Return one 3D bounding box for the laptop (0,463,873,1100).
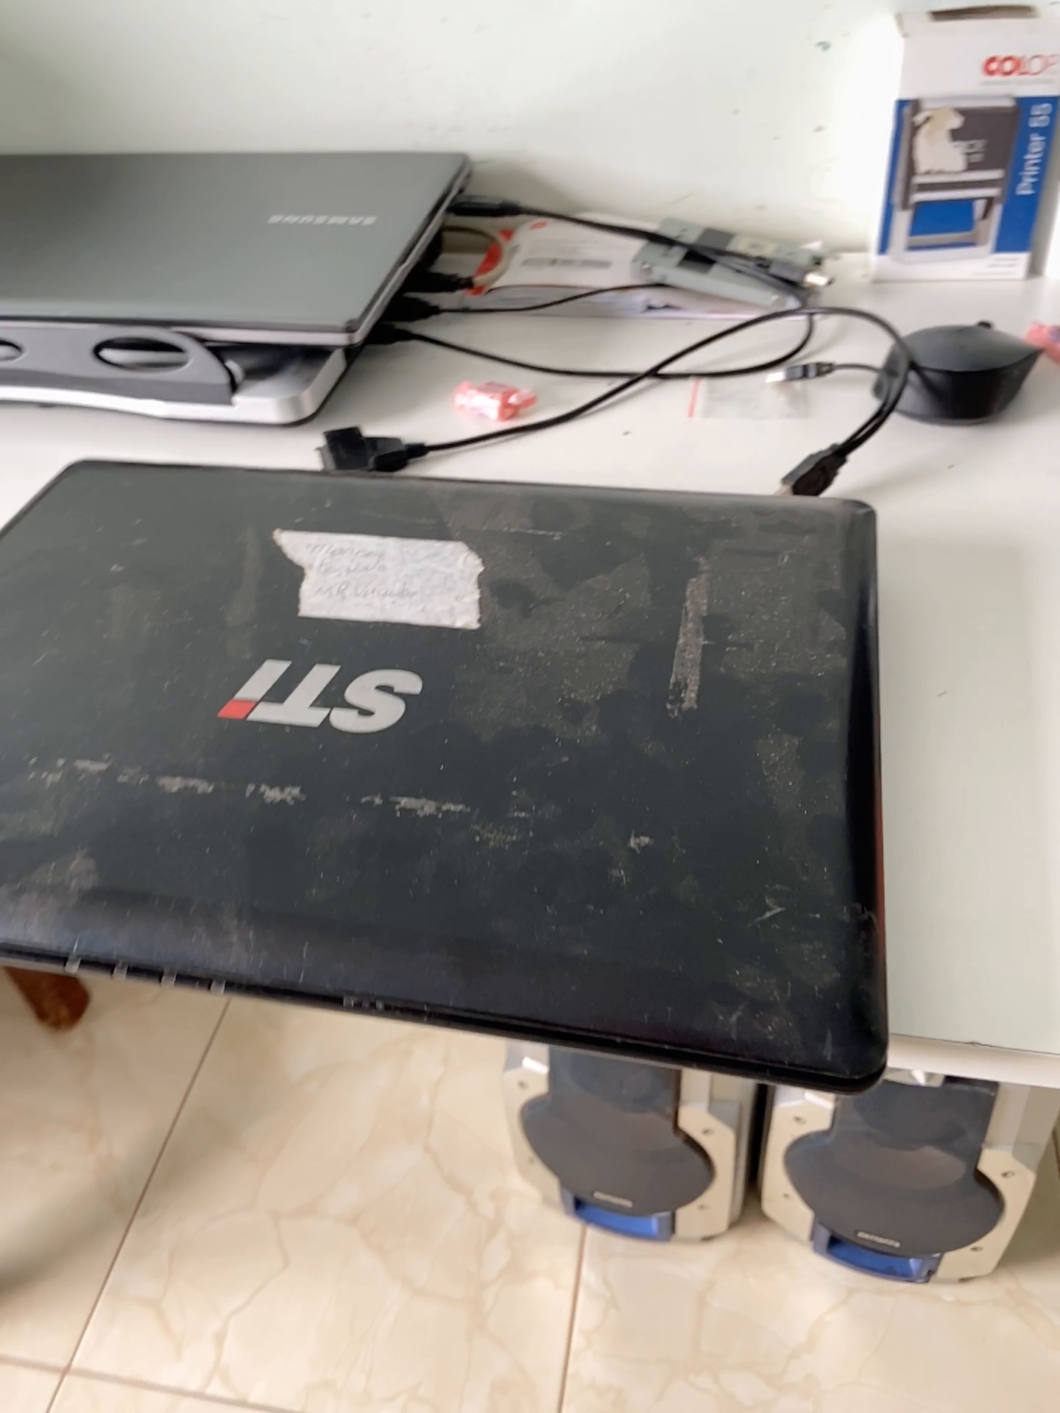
[{"bbox_3d":[-0.060,-0.006,0.371,0.337,0.011,0.231,5,45,12],"label":"laptop"}]

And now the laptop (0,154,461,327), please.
[{"bbox_3d":[-0.229,-0.272,0.619,0.343,0.006,0.229,4,43,7],"label":"laptop"}]
